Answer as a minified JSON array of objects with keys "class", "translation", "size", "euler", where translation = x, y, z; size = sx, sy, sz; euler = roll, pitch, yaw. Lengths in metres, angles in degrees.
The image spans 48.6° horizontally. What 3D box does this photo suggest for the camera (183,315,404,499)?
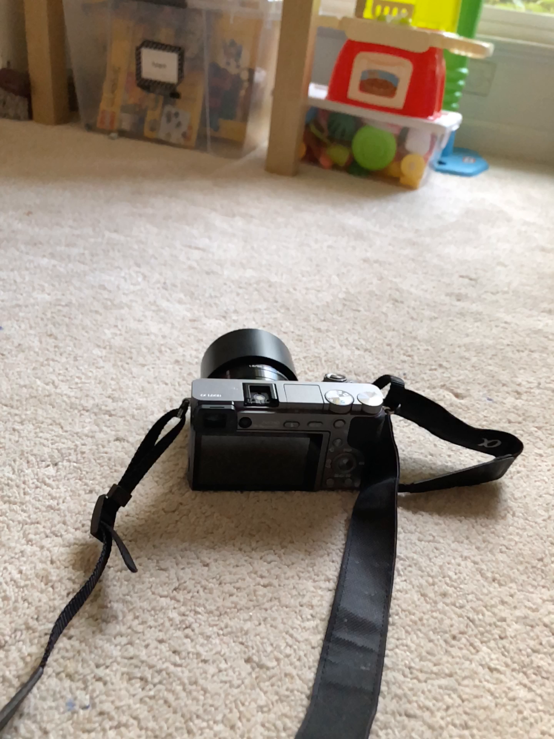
[{"class":"camera","translation":[0.002,0.021,0.396],"size":[0.120,0.070,0.101],"euler":[3,30,-9]}]
